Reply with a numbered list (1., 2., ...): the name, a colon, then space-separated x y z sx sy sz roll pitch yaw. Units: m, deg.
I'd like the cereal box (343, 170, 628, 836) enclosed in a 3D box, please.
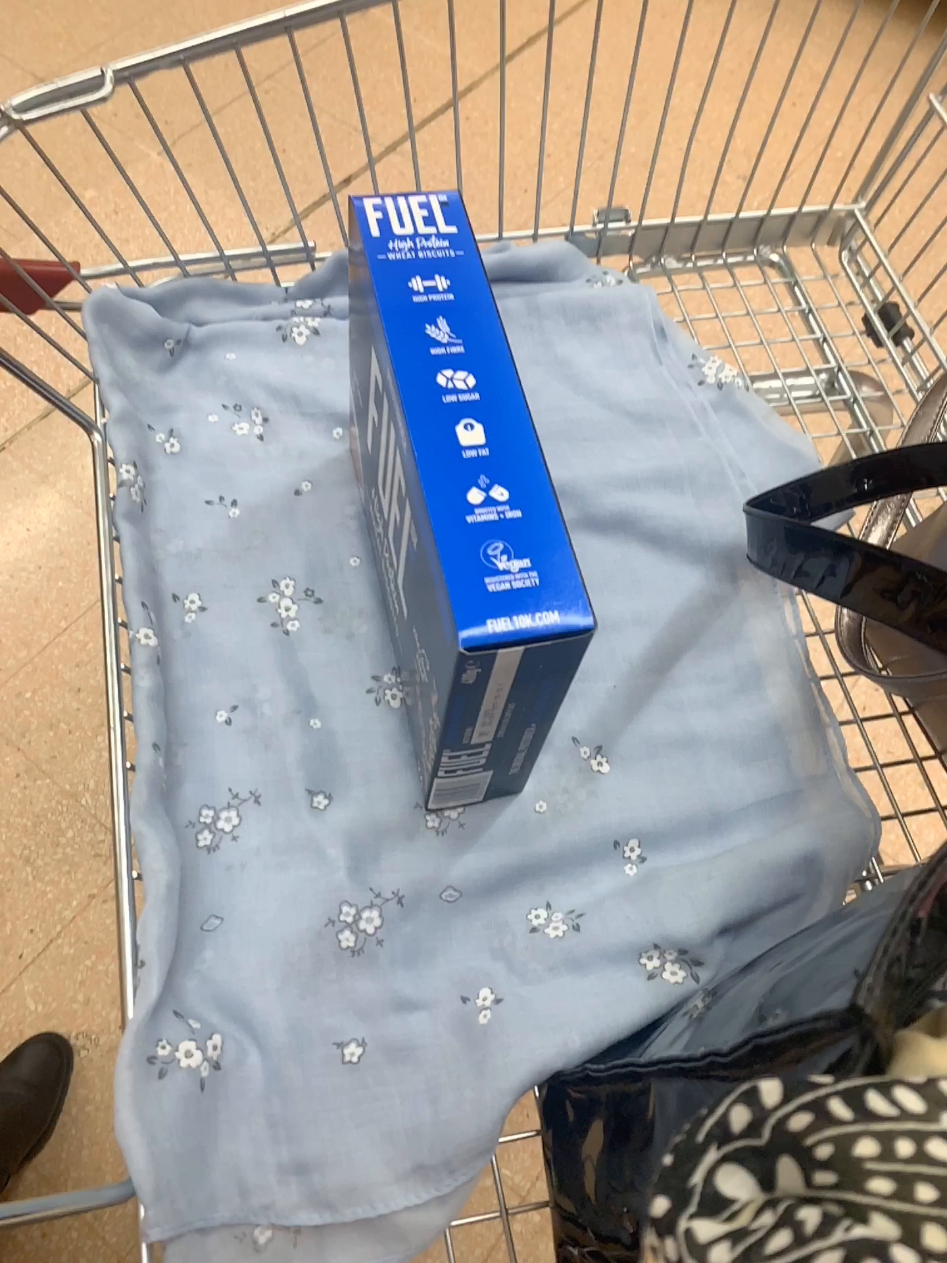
1. cereal box: -0.009 -0.052 0.482 0.060 0.209 0.251 -10 64 -9
